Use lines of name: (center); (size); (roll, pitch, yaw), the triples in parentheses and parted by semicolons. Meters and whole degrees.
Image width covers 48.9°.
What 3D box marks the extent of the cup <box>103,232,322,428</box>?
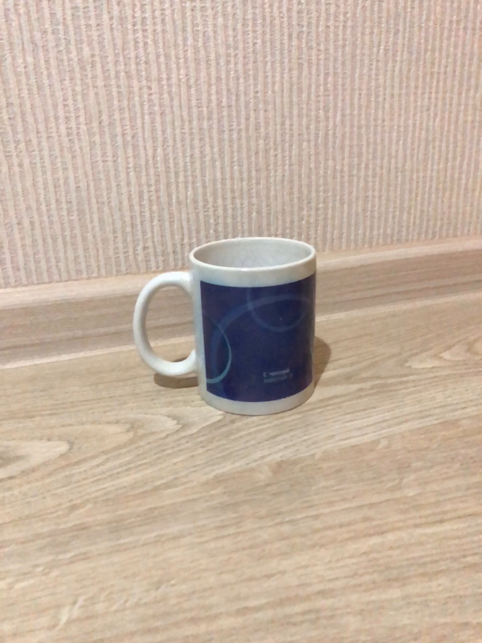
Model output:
cup: (-0.016, 0.000, 0.357); (0.123, 0.099, 0.094); (-2, 20, -1)
